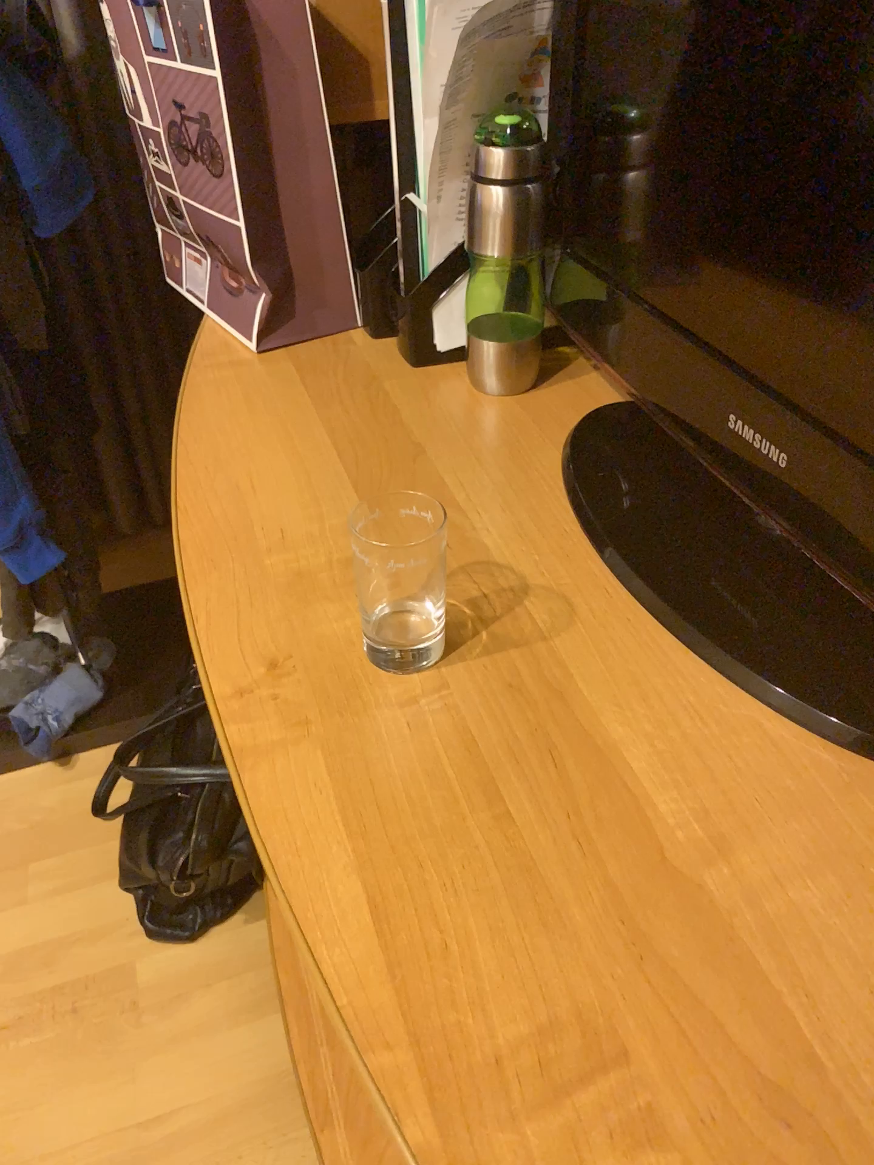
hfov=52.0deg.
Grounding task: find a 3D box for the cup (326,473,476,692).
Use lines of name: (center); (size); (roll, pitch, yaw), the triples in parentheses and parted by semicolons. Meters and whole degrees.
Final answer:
cup: (-0.018, -0.001, 0.530); (0.060, 0.099, 0.060); (-1, 37, 1)
